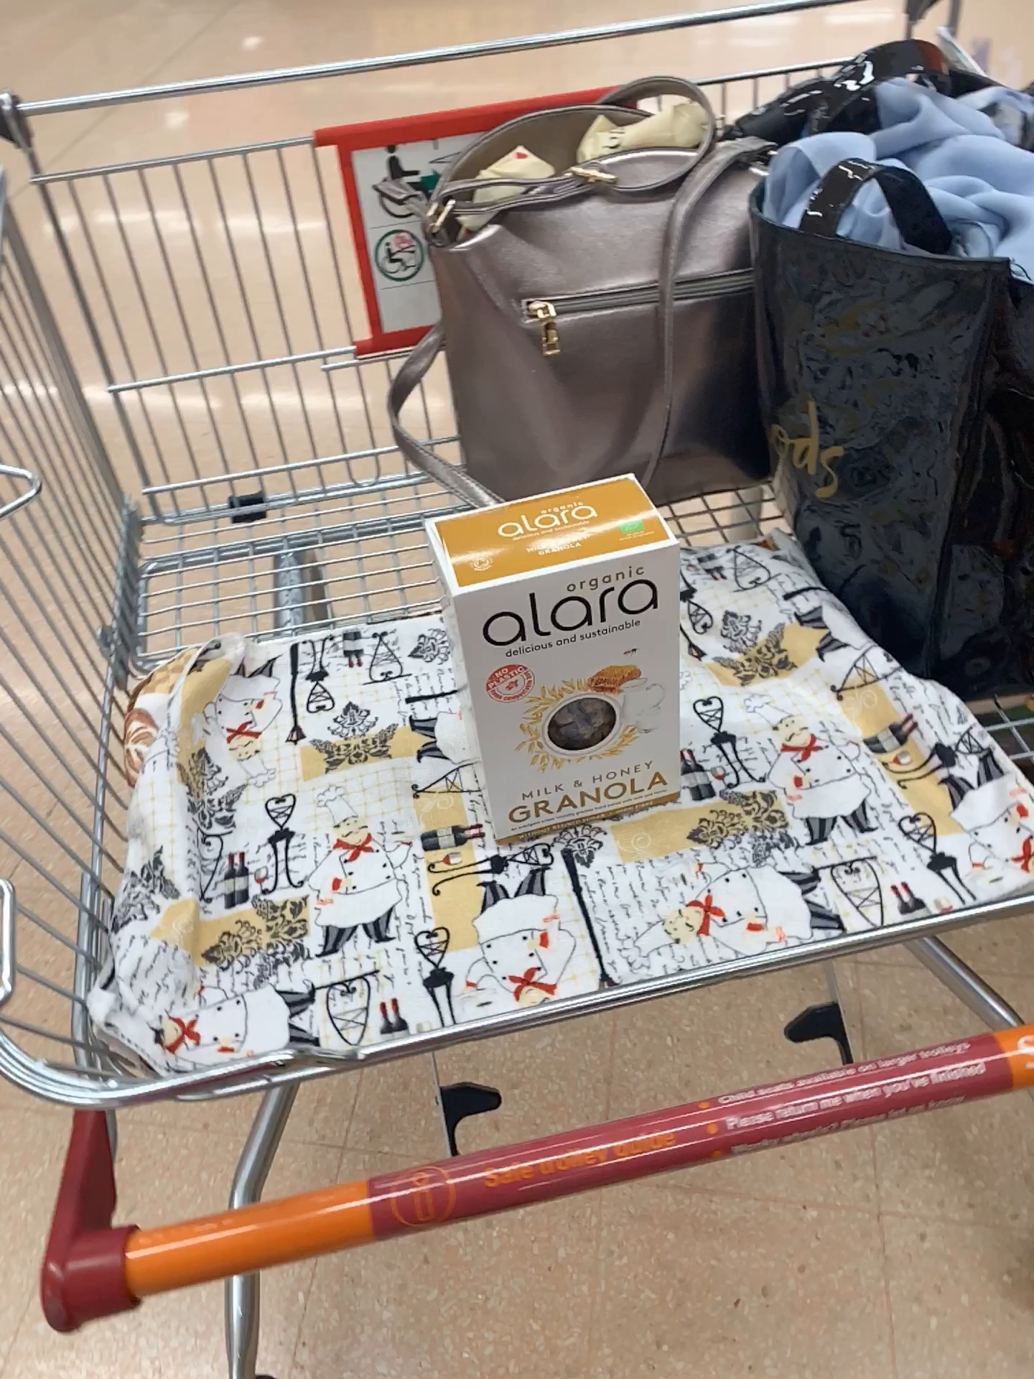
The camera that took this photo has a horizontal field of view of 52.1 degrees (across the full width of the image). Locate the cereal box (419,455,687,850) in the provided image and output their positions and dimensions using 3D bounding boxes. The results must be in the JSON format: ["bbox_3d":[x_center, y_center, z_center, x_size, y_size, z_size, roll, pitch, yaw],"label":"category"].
[{"bbox_3d":[0.024,-0.016,0.611,0.120,0.198,0.081,-14,43,-8],"label":"cereal box"}]
